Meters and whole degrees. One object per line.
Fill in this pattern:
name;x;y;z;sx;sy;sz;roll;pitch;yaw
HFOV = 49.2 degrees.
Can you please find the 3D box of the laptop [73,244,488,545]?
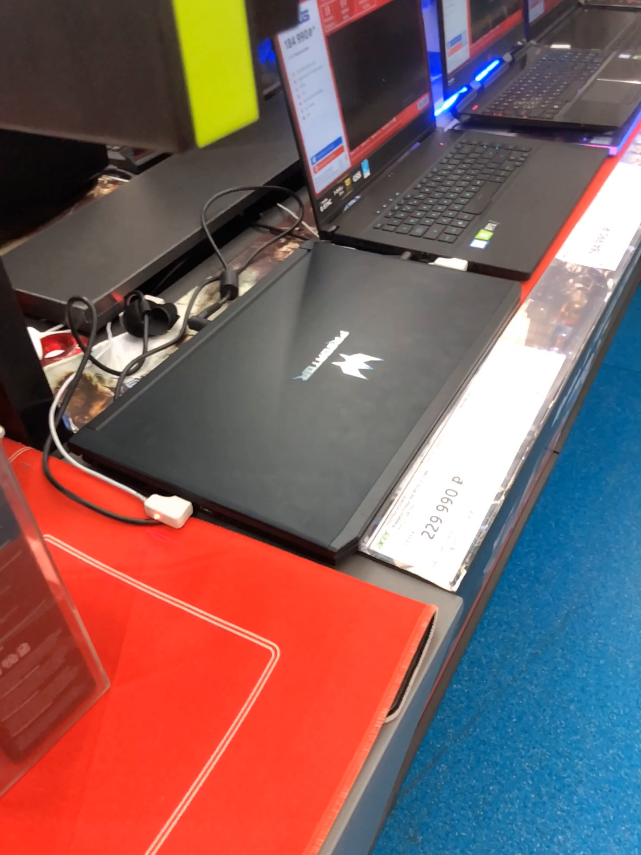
laptop;-0.015;-0.063;0.625;0.221;0.006;0.355;18;47;24
